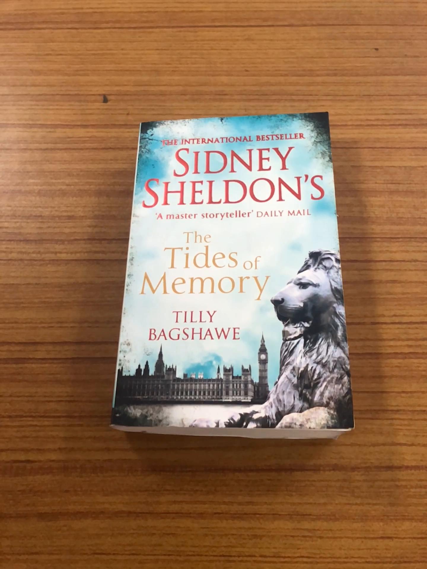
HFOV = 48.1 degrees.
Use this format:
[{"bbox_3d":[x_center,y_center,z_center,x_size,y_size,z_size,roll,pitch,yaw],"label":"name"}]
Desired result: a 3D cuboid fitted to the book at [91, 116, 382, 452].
[{"bbox_3d":[0.011,-0.004,0.248,0.122,0.038,0.168,-1,68,5],"label":"book"}]
